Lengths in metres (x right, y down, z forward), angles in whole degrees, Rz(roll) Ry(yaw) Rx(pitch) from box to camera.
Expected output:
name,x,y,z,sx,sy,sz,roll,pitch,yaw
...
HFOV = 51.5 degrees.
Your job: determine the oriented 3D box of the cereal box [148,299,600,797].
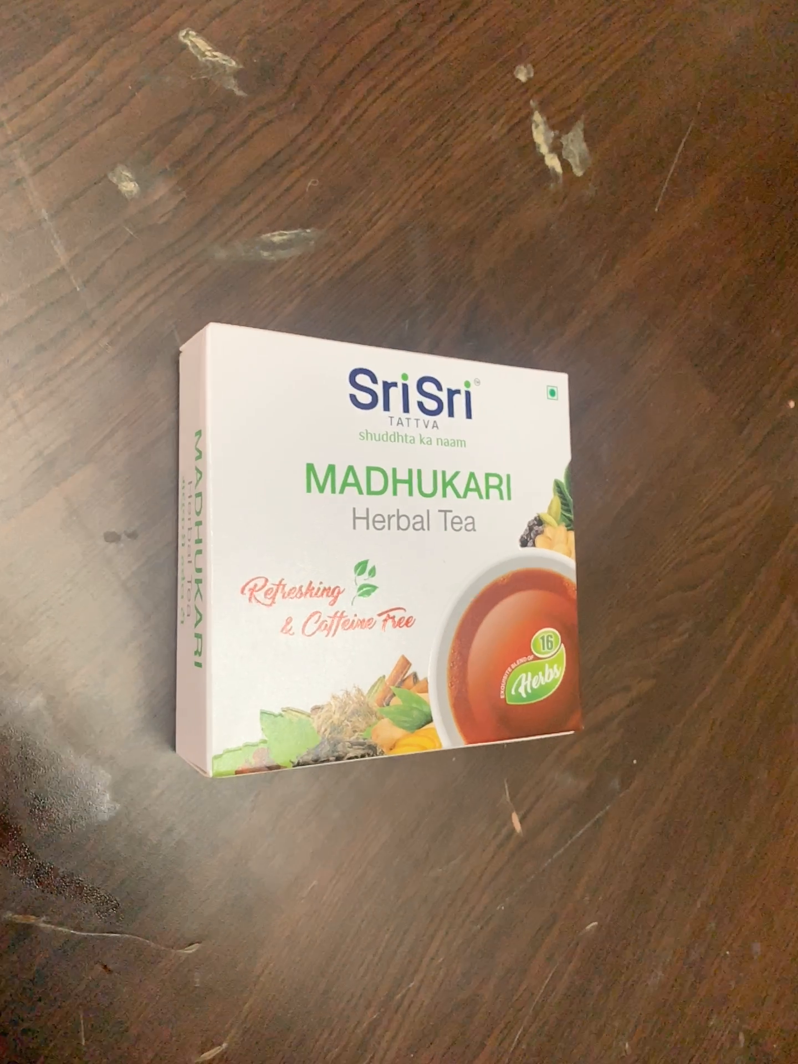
name,x,y,z,sx,sy,sz,roll,pitch,yaw
cereal box,-0.003,0.005,0.248,0.130,0.040,0.120,1,88,-28
